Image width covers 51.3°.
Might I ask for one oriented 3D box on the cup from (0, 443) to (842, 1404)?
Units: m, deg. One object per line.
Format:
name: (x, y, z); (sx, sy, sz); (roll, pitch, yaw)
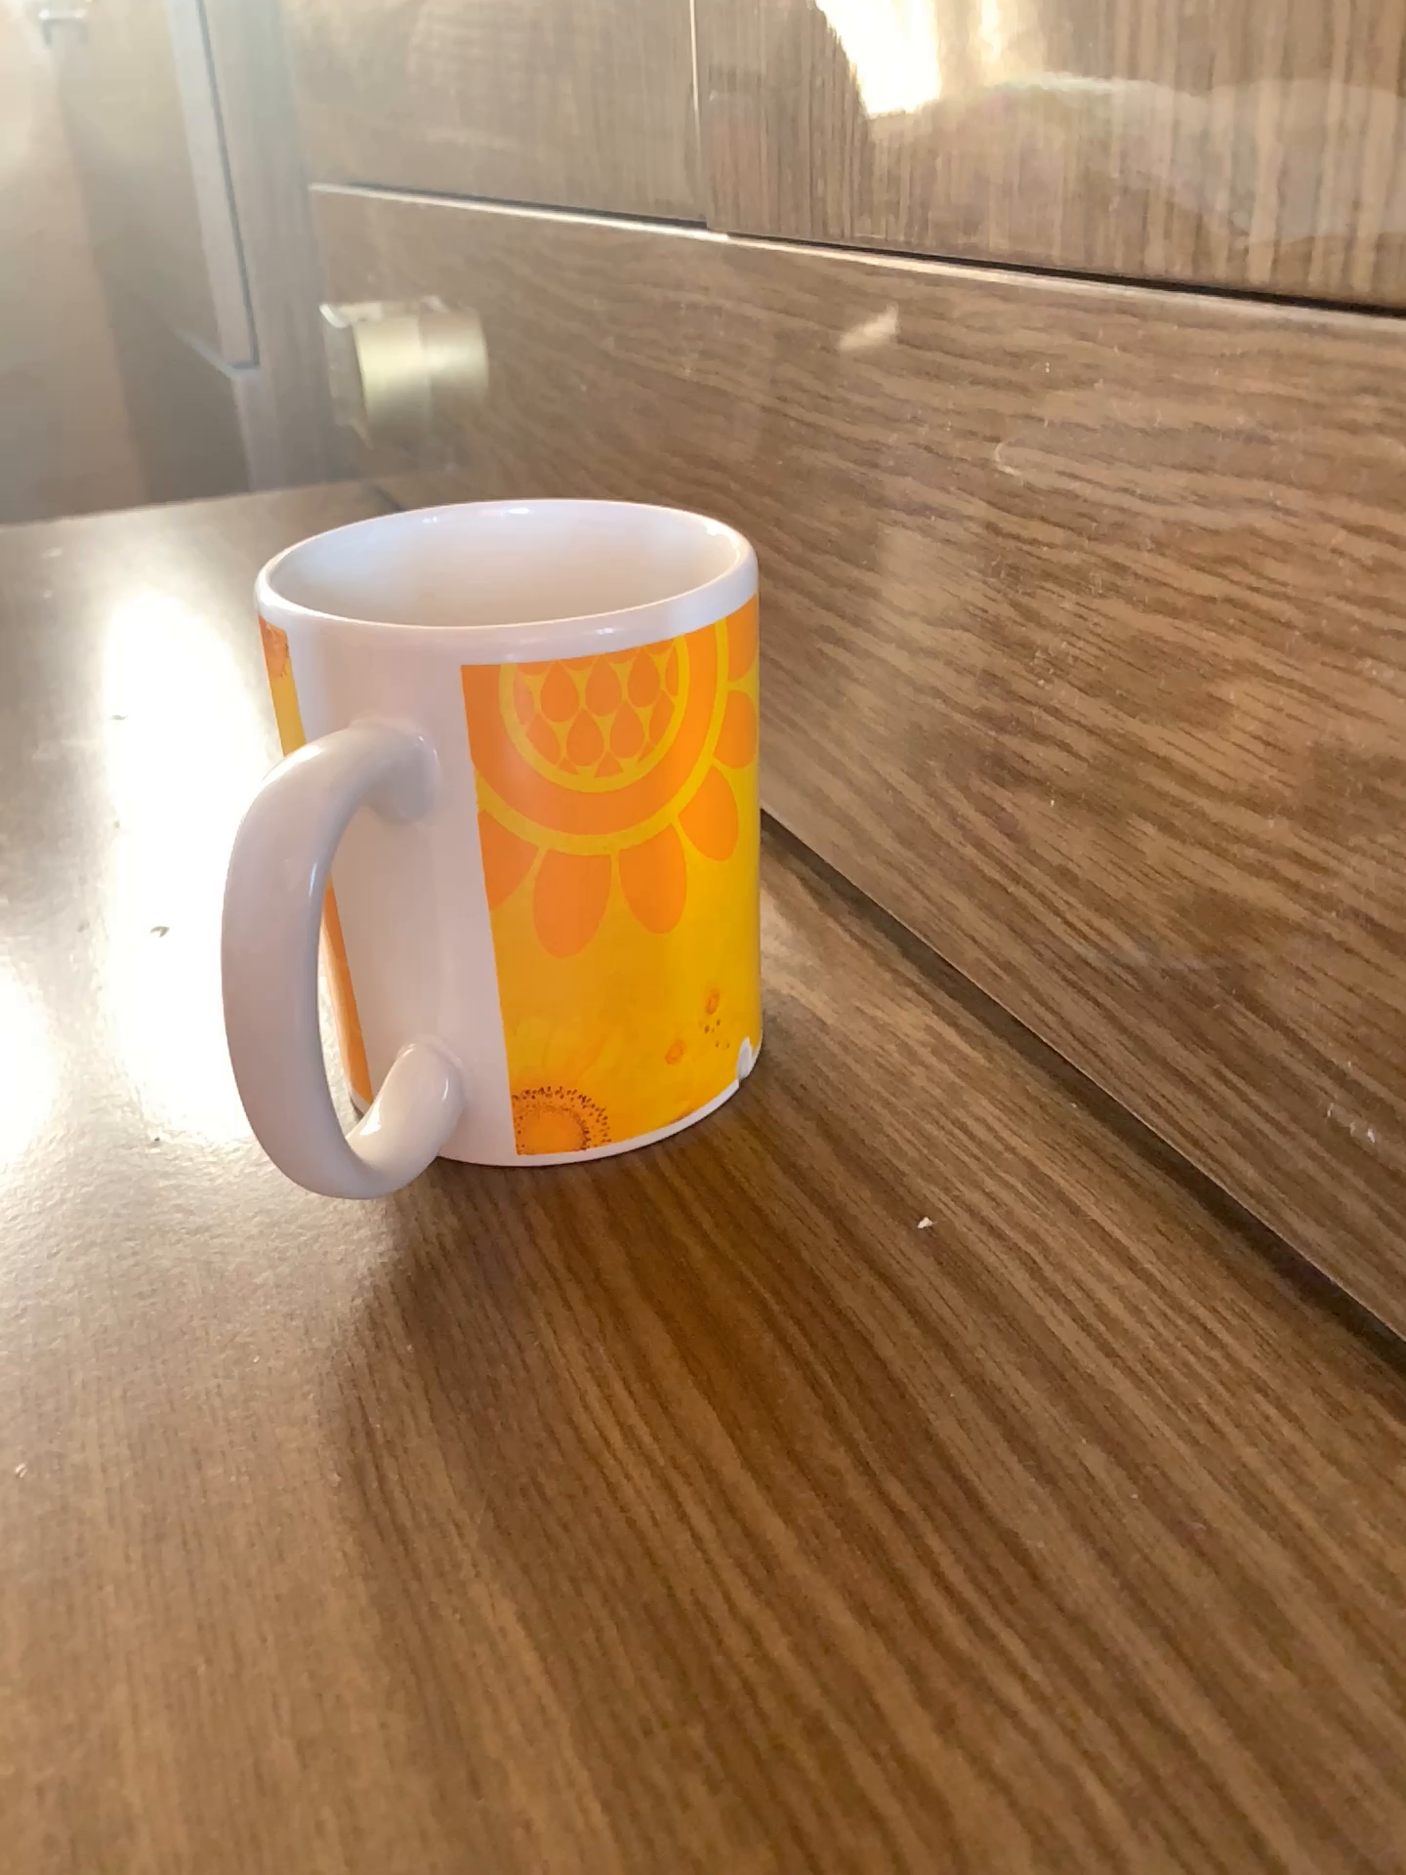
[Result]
cup: (-0.042, -0.016, 0.240); (0.090, 0.097, 0.124); (11, 32, 23)
